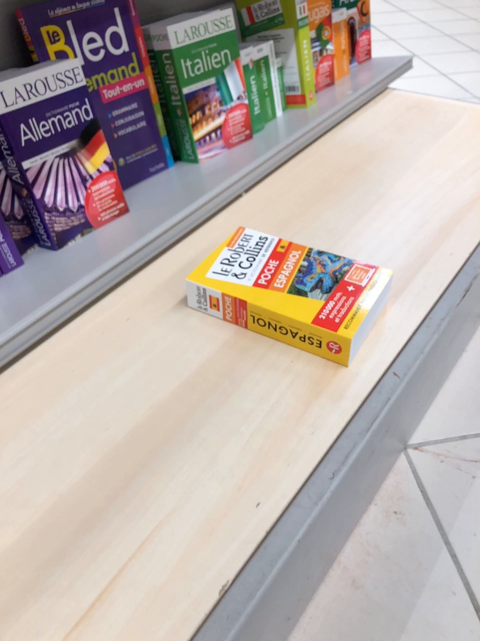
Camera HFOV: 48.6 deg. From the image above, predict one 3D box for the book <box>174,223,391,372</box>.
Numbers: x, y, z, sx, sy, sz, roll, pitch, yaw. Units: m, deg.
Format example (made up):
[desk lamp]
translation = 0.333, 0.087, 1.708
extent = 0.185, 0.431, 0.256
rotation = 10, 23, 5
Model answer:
[book]
translation = 0.042, -0.031, 0.530
extent = 0.180, 0.040, 0.111
rotation = 21, 46, 23
